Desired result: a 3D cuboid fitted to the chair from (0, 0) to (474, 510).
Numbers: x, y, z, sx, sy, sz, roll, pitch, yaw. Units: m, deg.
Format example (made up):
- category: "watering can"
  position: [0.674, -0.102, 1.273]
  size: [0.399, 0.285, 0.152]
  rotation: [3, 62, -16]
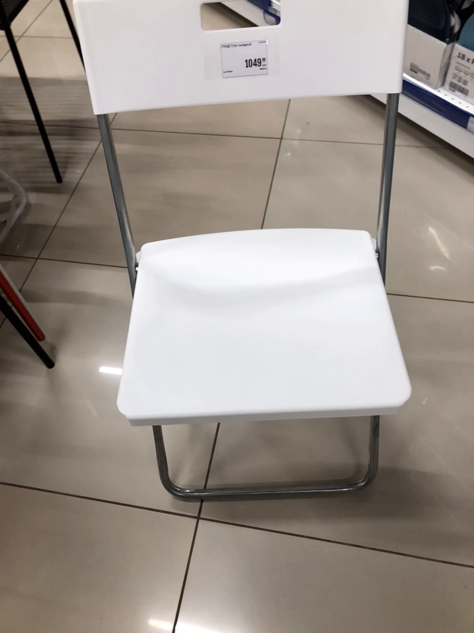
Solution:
- category: "chair"
  position: [0.034, -0.034, 0.800]
  size: [0.425, 0.711, 0.433]
  rotation: [-3, 54, 3]
